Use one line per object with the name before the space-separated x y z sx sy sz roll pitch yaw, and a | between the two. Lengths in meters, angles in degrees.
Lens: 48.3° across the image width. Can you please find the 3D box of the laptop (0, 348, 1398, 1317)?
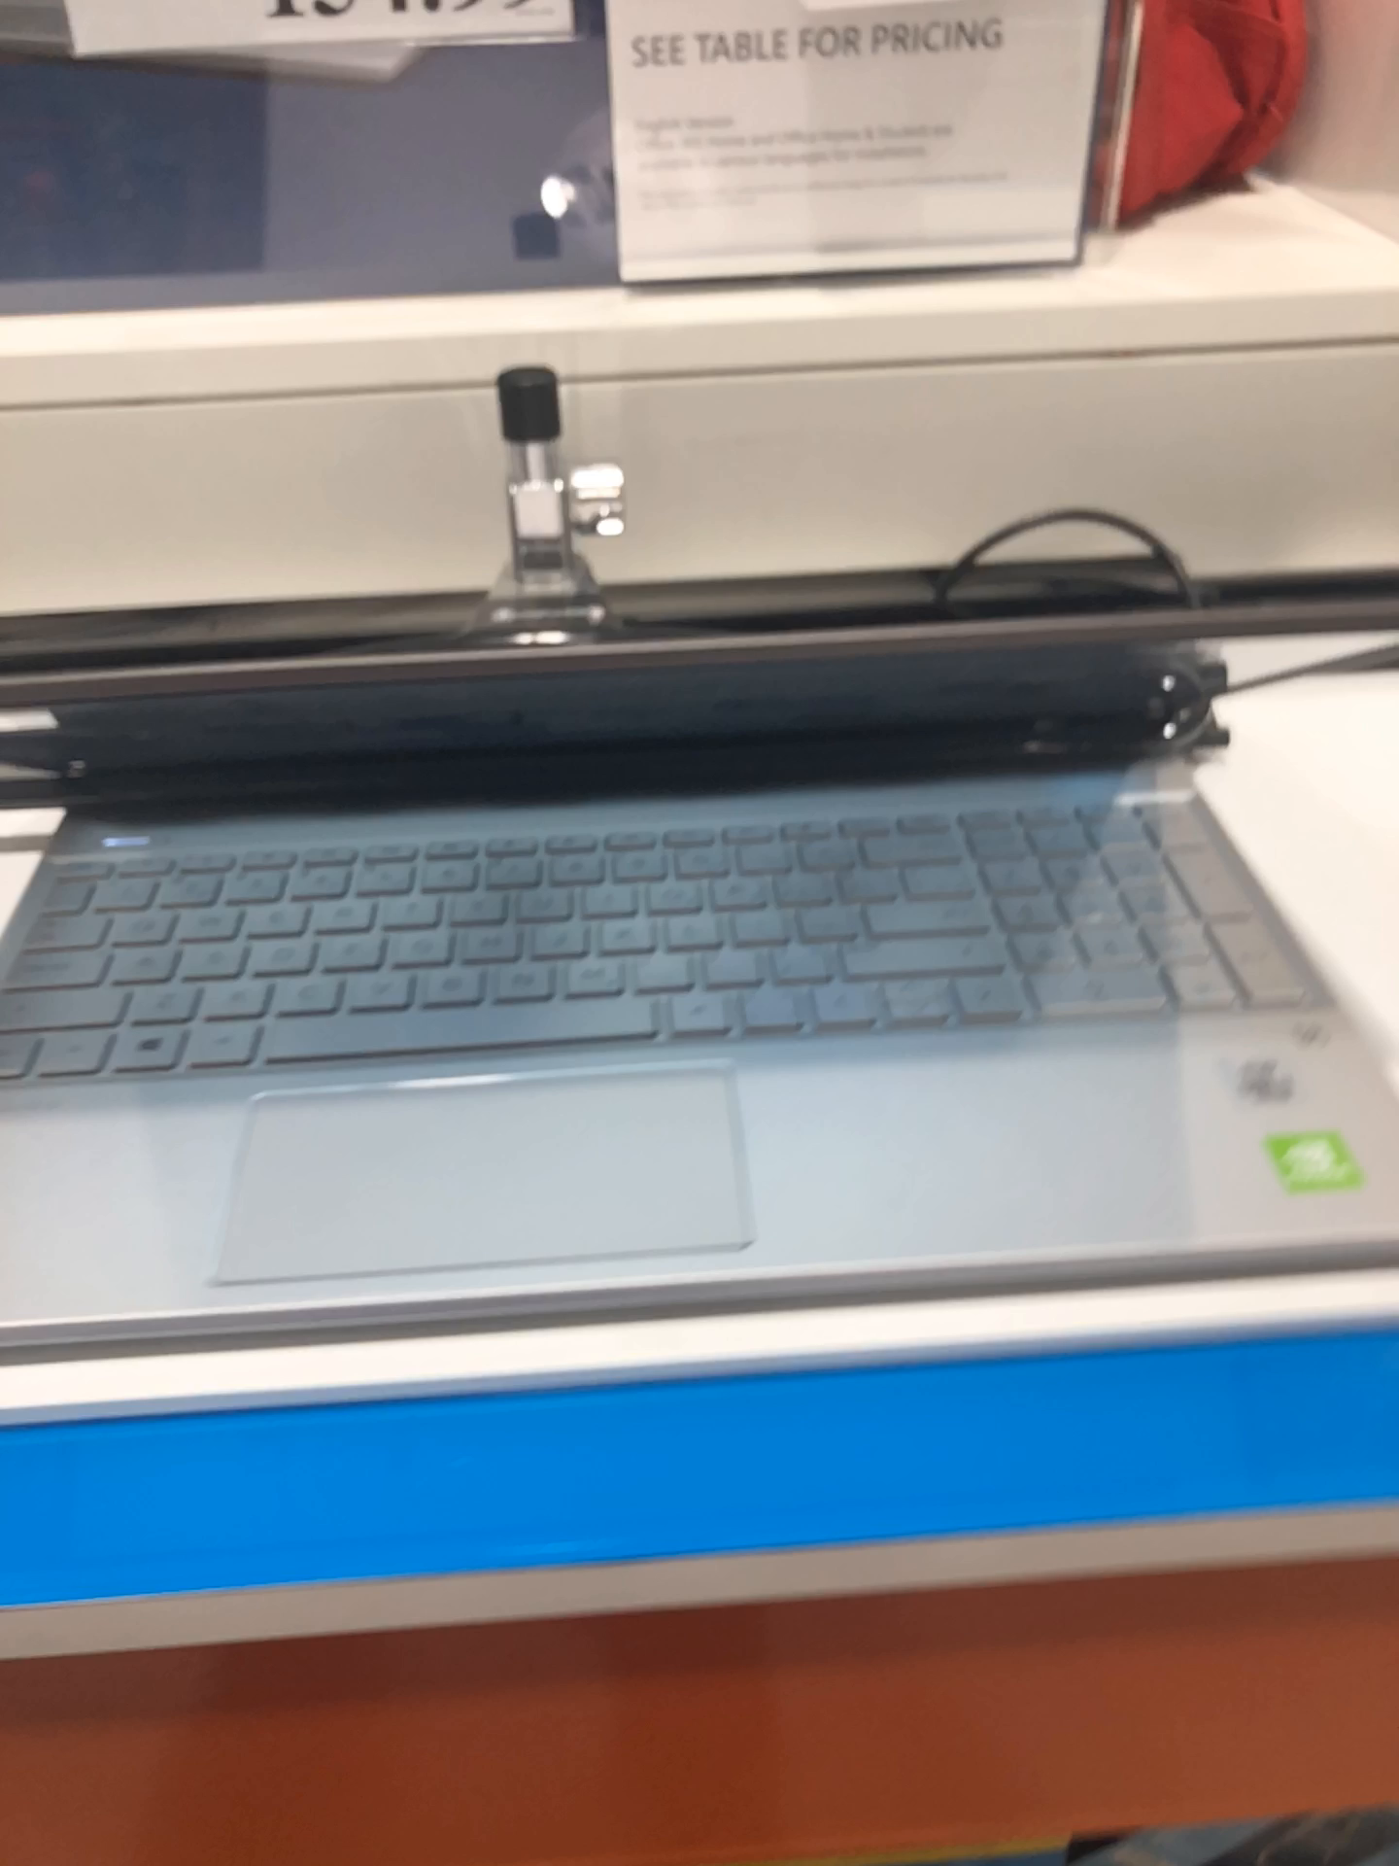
laptop | -0.011 -0.043 0.384 0.347 0.124 0.216 -3 35 -2
